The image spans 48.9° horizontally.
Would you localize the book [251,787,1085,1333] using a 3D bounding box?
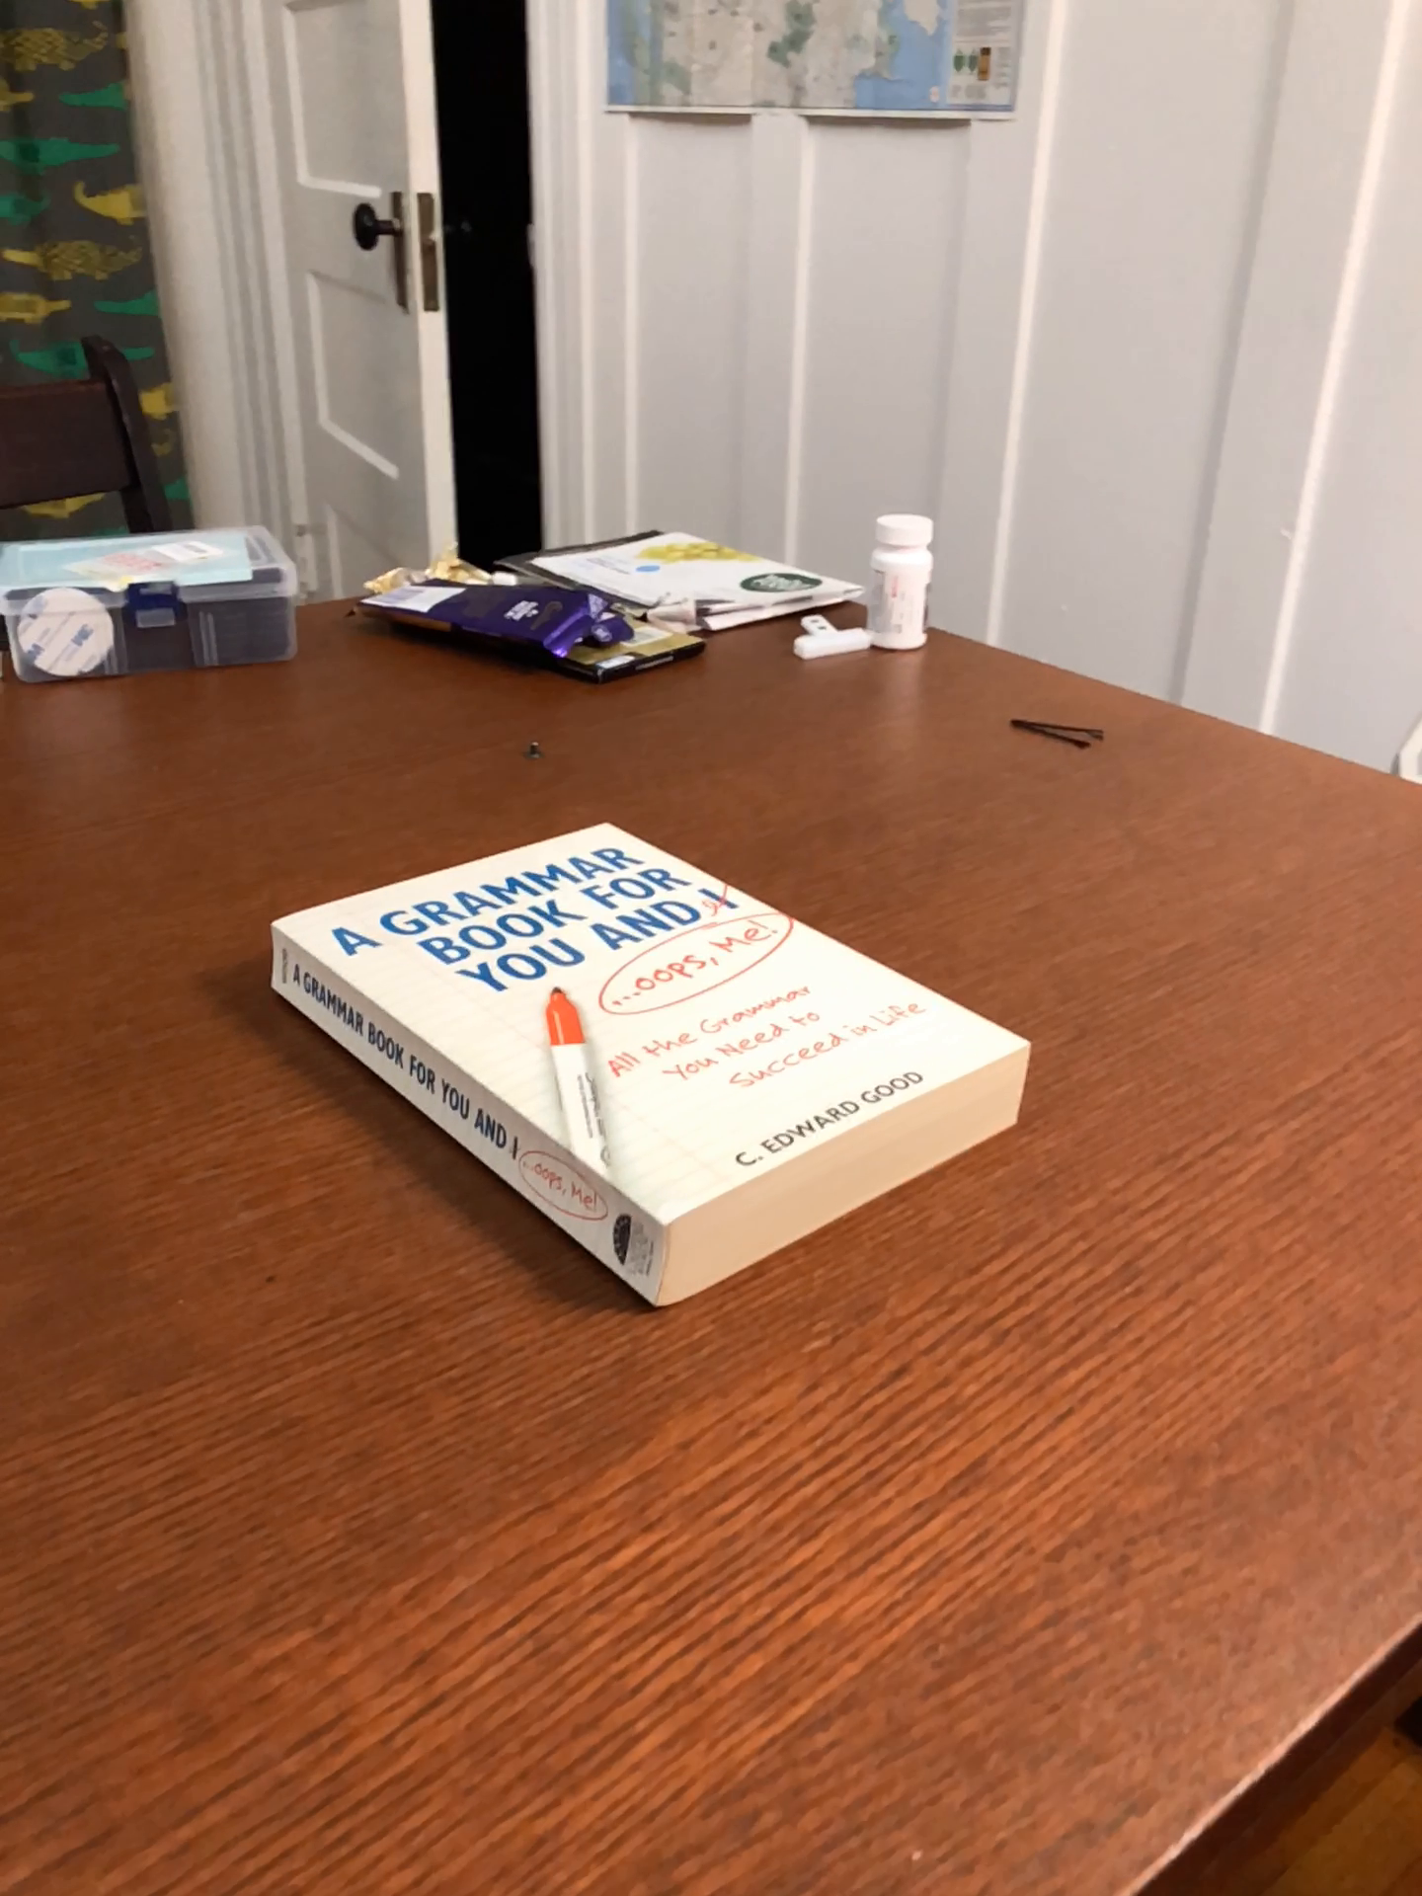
[{"bbox_3d":[-0.023,0.017,0.541,0.170,0.040,0.241,-20,34,-36],"label":"book"}]
